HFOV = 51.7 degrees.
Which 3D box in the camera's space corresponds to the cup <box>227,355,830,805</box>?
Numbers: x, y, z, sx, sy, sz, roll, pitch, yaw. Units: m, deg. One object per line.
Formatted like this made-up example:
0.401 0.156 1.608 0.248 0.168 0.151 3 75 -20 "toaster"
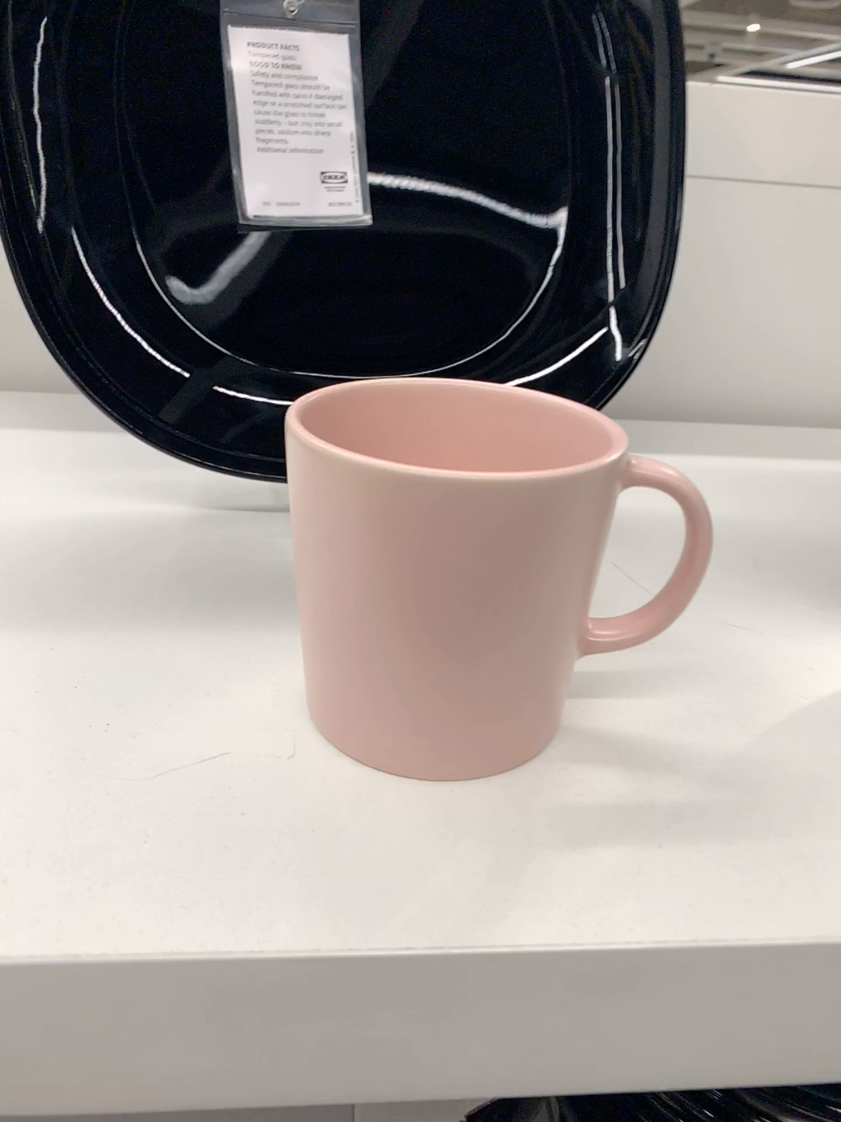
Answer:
0.020 -0.002 0.229 0.120 0.080 0.090 4 23 0 "cup"
